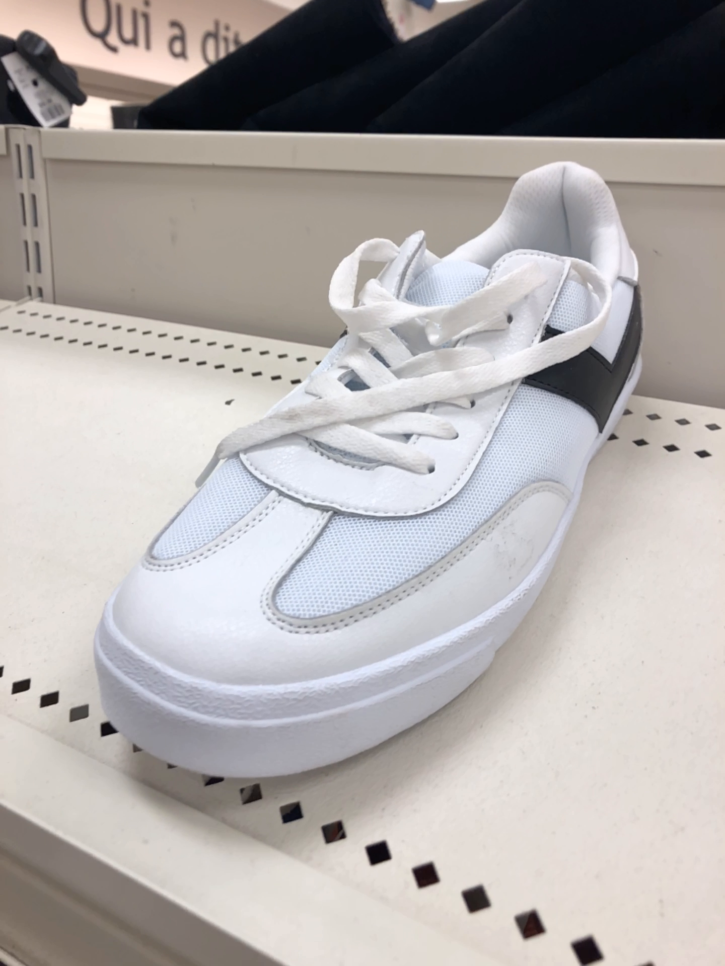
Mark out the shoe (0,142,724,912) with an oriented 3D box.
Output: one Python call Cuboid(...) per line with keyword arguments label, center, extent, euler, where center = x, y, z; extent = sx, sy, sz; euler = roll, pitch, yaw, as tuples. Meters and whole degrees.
Cuboid(label="shoe", center=(0.055, -0.051, 0.303), extent=(0.113, 0.129, 0.372), euler=(16, 29, 32))
